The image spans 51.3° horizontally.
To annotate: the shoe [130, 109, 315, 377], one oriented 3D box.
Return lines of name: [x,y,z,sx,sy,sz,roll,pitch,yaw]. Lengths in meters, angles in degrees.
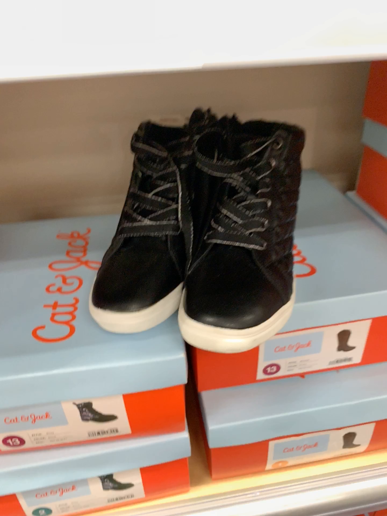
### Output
shoe: [0.043,-0.036,0.339,0.100,0.109,0.231,6,36,13]

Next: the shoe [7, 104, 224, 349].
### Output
shoe: [-0.042,-0.050,0.375,0.100,0.119,0.231,6,36,13]
